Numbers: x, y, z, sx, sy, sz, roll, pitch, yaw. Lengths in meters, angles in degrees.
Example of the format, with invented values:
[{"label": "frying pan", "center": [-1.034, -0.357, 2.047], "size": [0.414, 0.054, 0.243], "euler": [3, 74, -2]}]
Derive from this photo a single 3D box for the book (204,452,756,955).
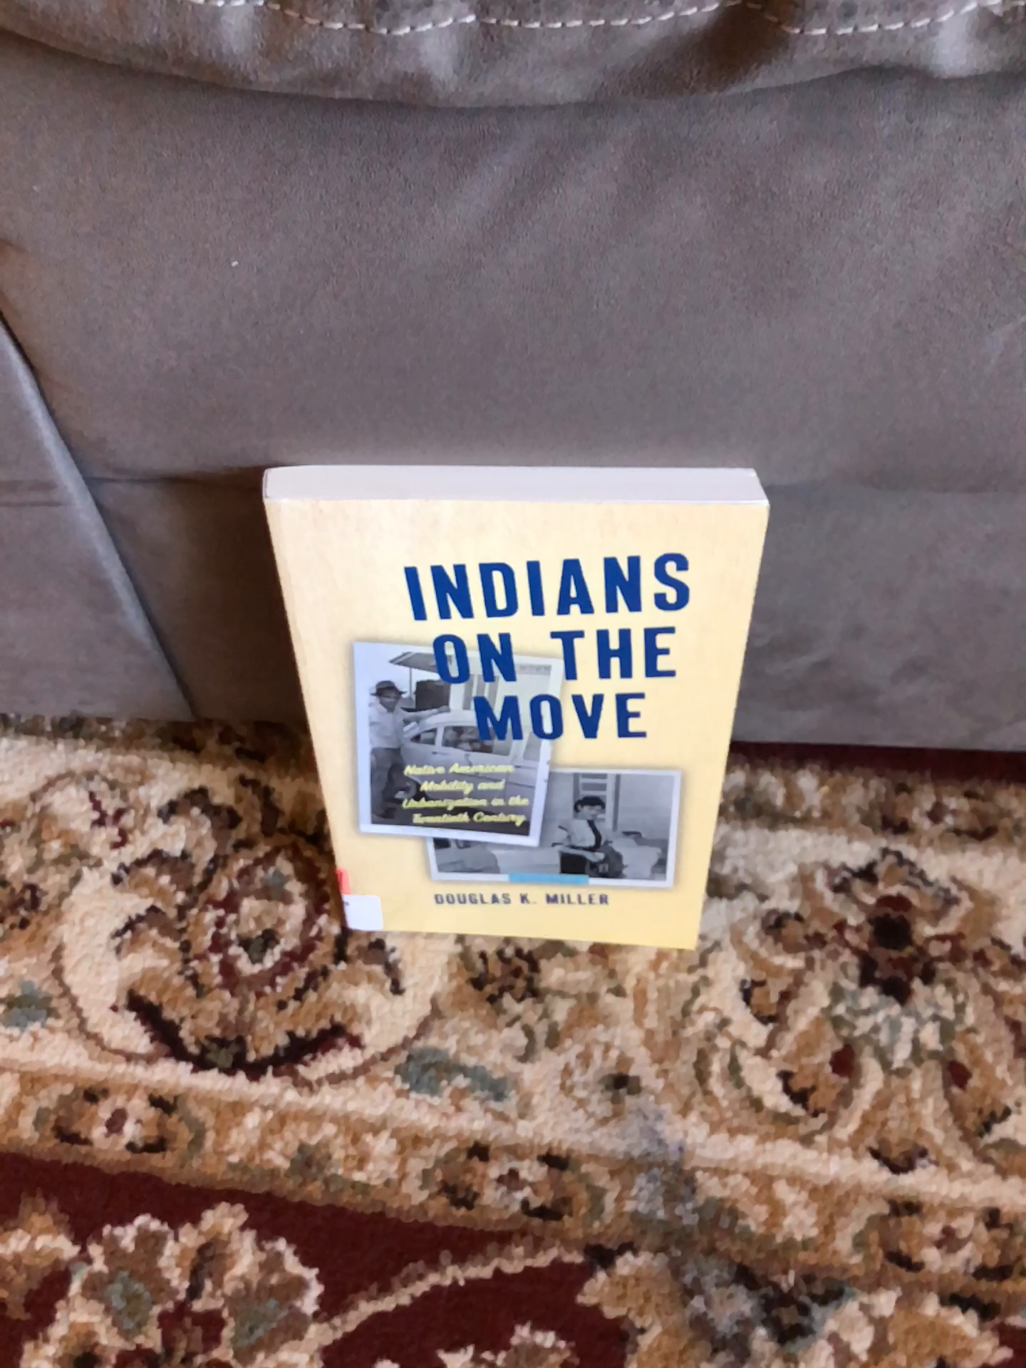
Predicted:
[{"label": "book", "center": [-0.004, 0.021, 0.420], "size": [0.160, 0.230, 0.030], "euler": [2, 45, 6]}]
